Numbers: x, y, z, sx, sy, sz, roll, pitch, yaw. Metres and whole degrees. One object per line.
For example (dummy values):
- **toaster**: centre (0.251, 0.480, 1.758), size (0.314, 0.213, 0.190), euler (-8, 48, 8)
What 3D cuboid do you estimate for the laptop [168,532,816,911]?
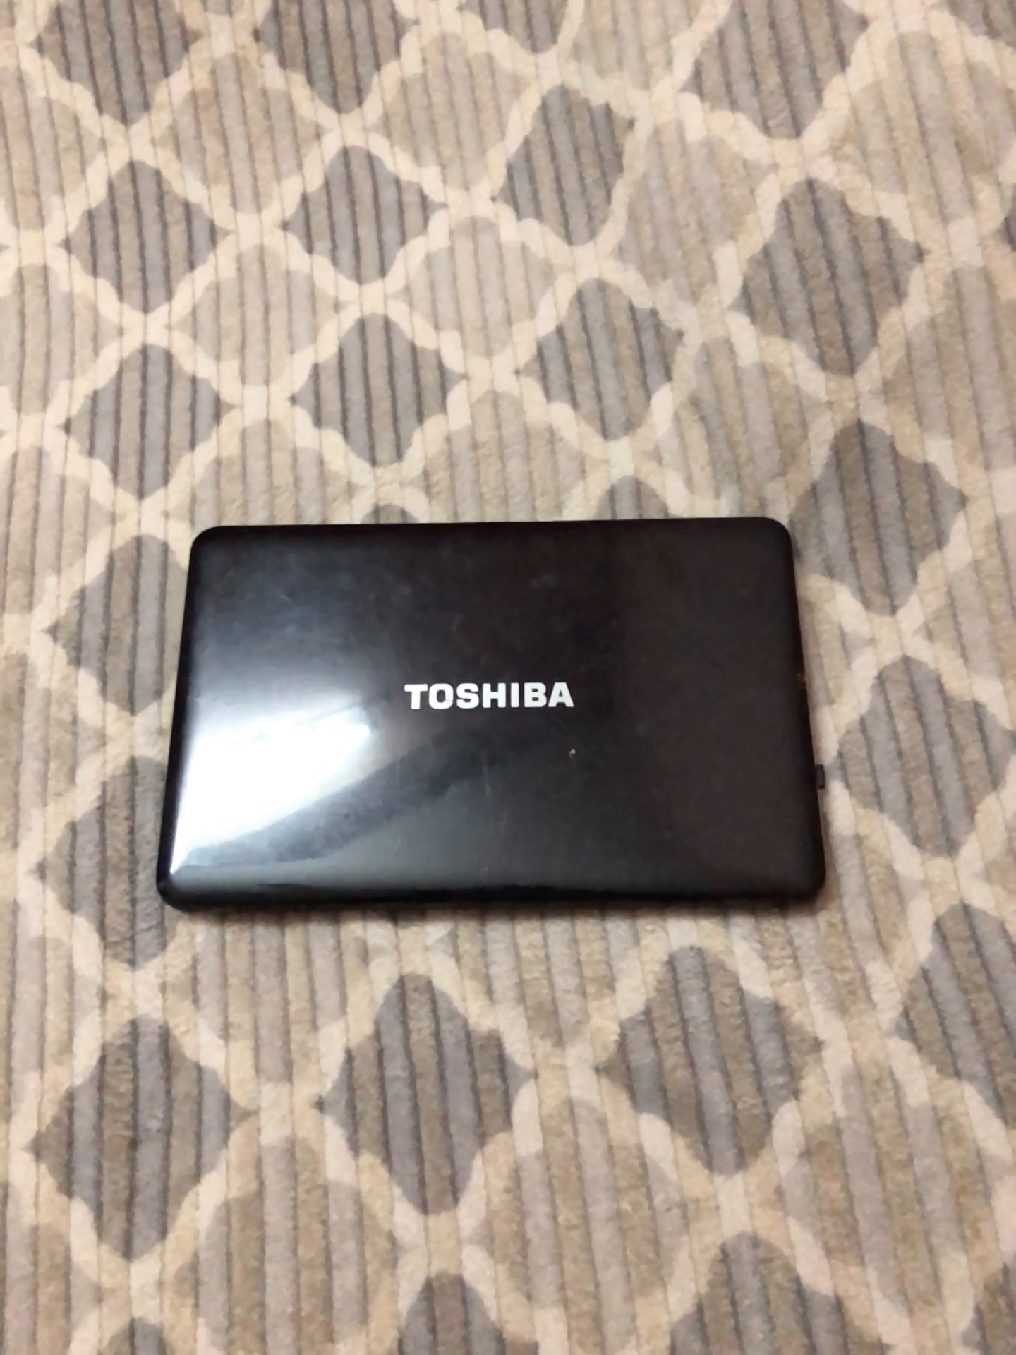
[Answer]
- **laptop**: centre (-0.013, 0.022, 0.708), size (0.375, 0.023, 0.249), euler (-1, 66, 2)
